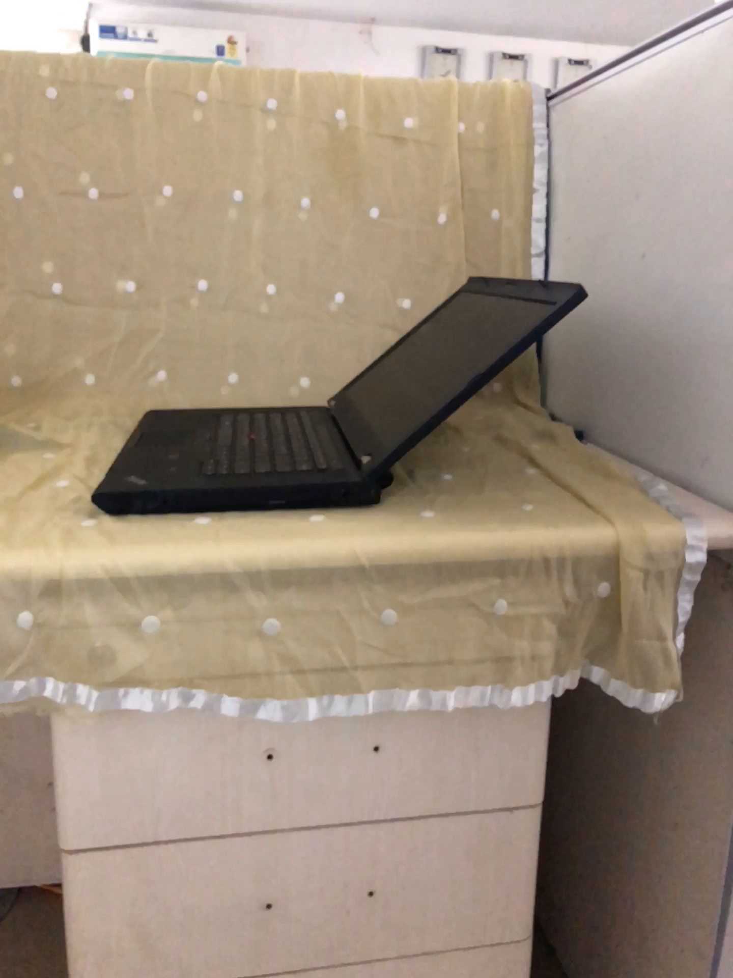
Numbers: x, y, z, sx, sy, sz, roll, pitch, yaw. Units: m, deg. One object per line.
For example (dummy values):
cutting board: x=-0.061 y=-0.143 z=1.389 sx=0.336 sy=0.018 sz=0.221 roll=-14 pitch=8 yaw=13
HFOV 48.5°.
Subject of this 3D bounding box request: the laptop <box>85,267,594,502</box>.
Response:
laptop: x=-0.041 y=-0.135 z=0.855 sx=0.424 sy=0.156 sz=0.349 roll=-5 pitch=16 yaw=-7
